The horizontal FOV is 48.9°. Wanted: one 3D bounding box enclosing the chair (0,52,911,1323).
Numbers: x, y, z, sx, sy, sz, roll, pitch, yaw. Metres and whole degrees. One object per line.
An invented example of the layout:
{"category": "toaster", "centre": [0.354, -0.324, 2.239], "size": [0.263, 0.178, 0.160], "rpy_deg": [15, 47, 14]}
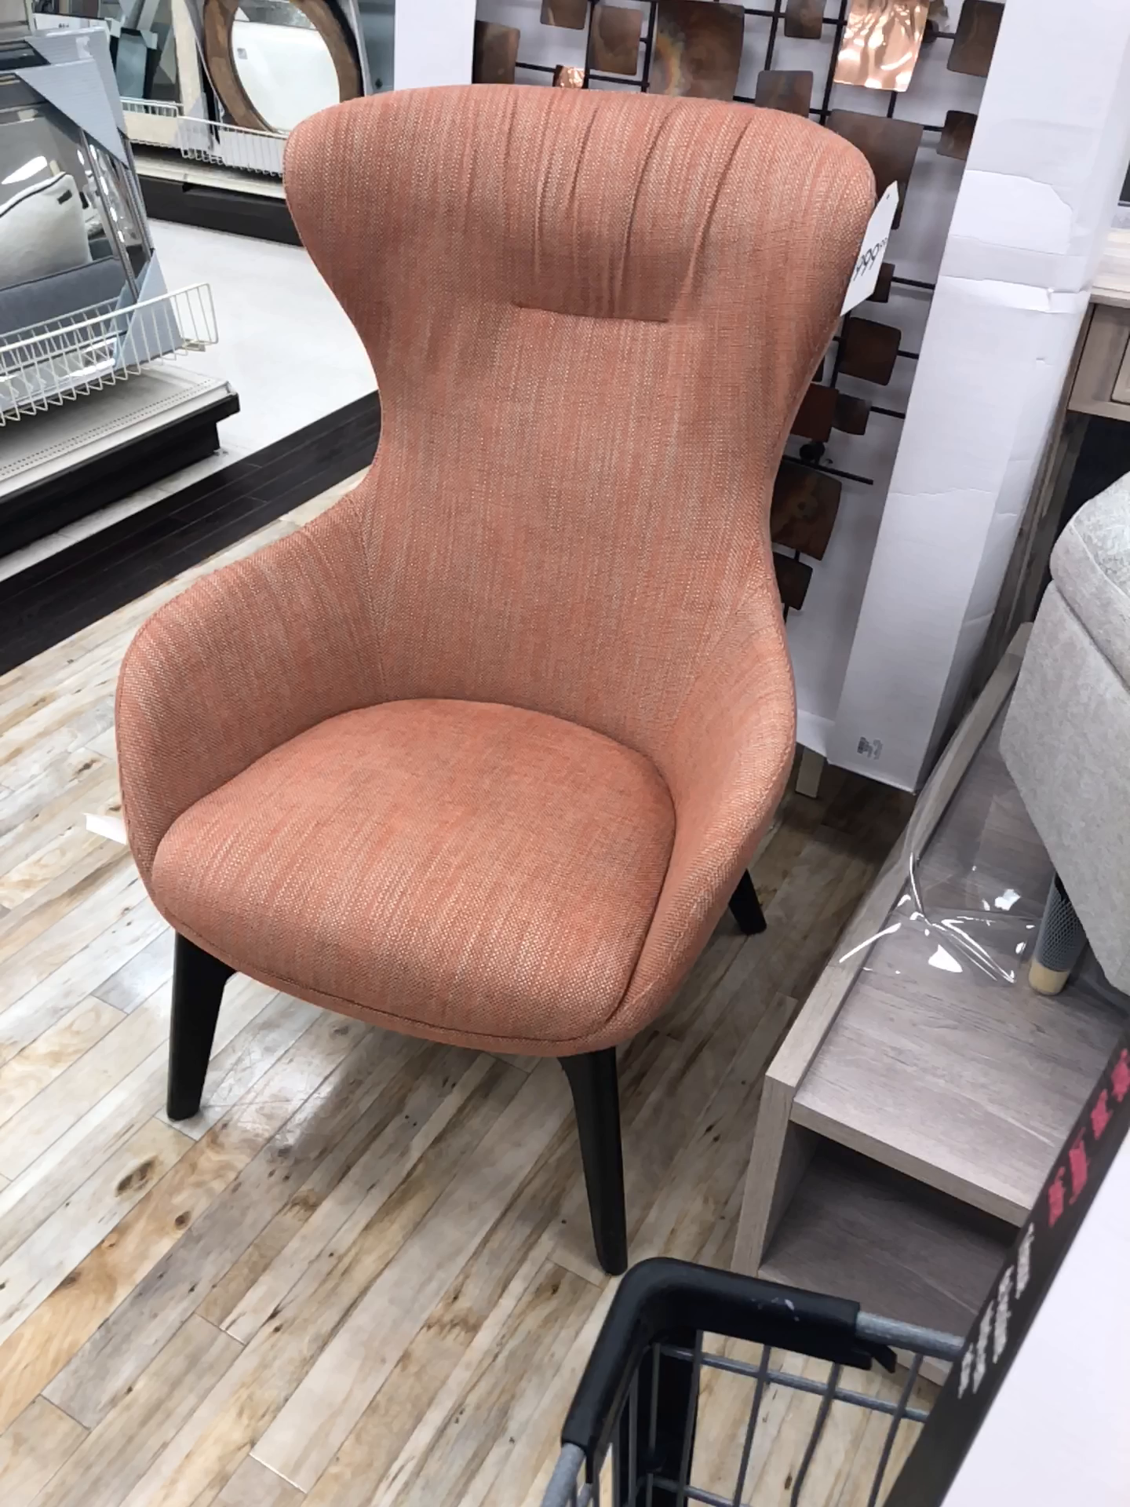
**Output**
{"category": "chair", "centre": [-0.111, -0.110, 1.386], "size": [0.690, 1.065, 0.753], "rpy_deg": [13, 37, 15]}
